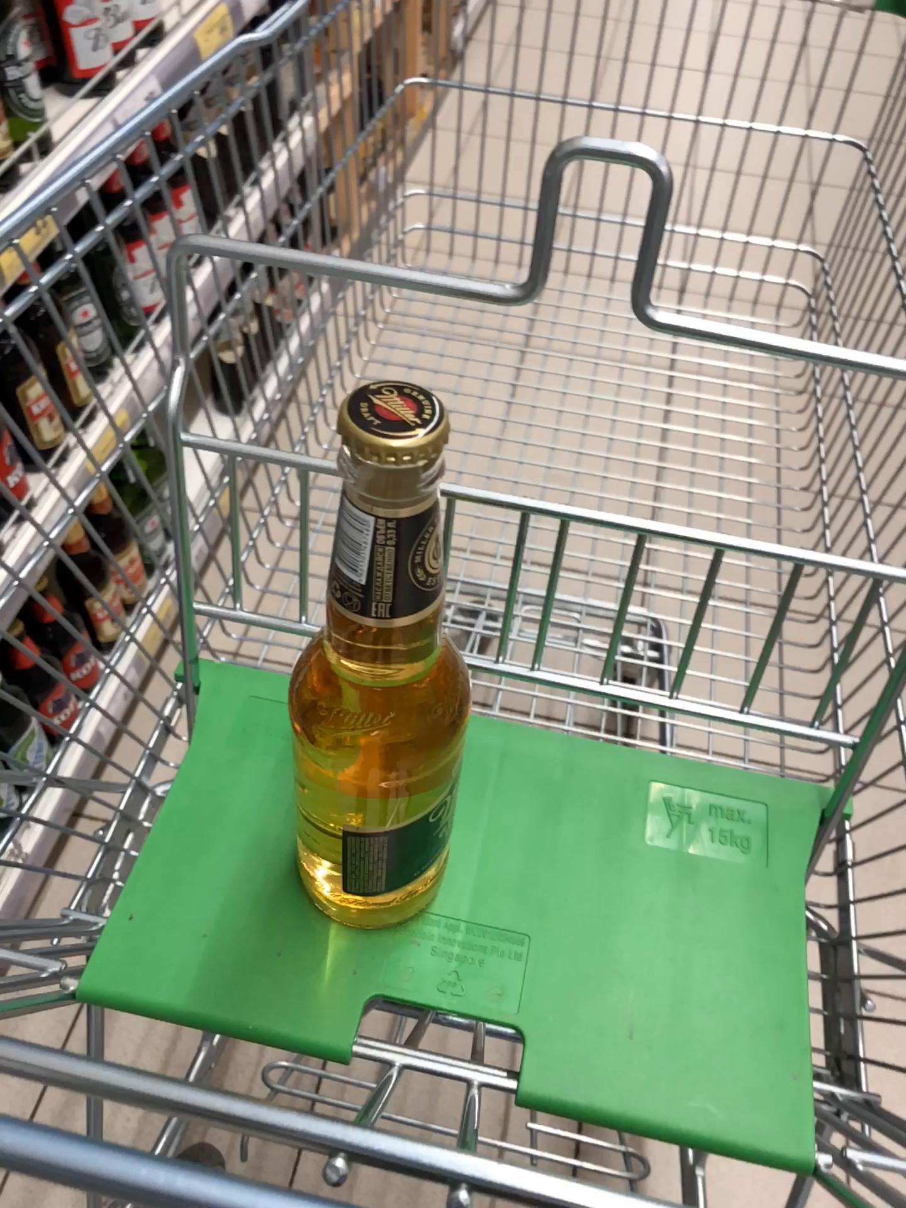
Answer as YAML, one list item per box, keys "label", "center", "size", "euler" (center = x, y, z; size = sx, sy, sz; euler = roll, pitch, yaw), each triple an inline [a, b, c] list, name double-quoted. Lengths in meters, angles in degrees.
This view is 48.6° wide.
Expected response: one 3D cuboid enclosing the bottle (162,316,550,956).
- label: "bottle"
  center: [-0.024, 0.027, 0.311]
  size: [0.070, 0.209, 0.070]
  euler: [2, 50, -2]
